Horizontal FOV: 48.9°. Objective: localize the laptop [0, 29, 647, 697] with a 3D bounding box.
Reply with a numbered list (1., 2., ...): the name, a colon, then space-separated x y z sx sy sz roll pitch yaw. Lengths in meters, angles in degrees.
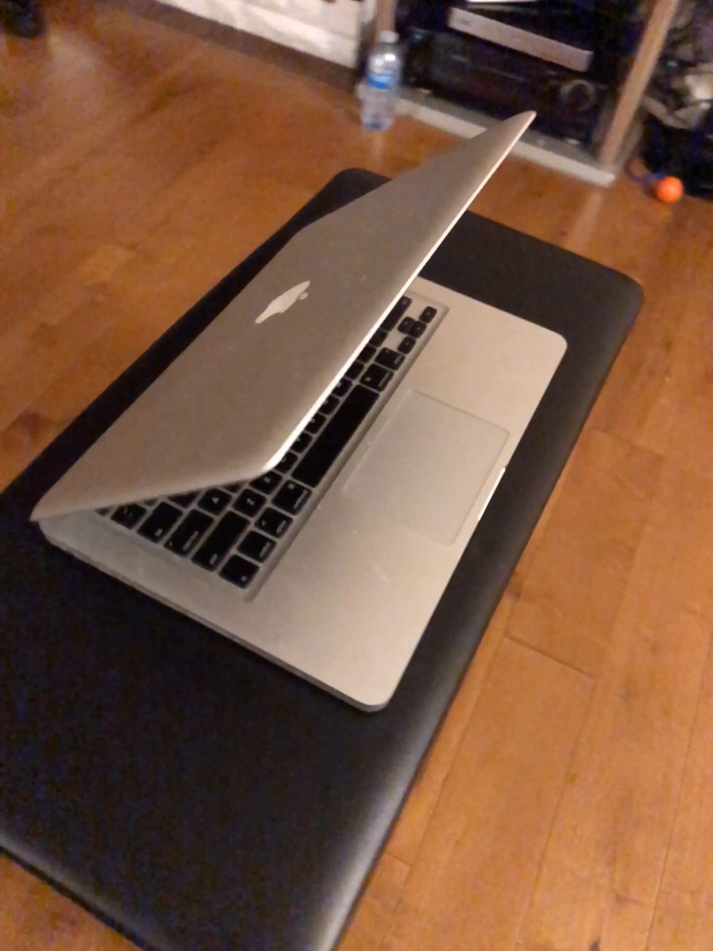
1. laptop: -0.010 -0.081 0.448 0.208 0.144 0.310 27 58 12
